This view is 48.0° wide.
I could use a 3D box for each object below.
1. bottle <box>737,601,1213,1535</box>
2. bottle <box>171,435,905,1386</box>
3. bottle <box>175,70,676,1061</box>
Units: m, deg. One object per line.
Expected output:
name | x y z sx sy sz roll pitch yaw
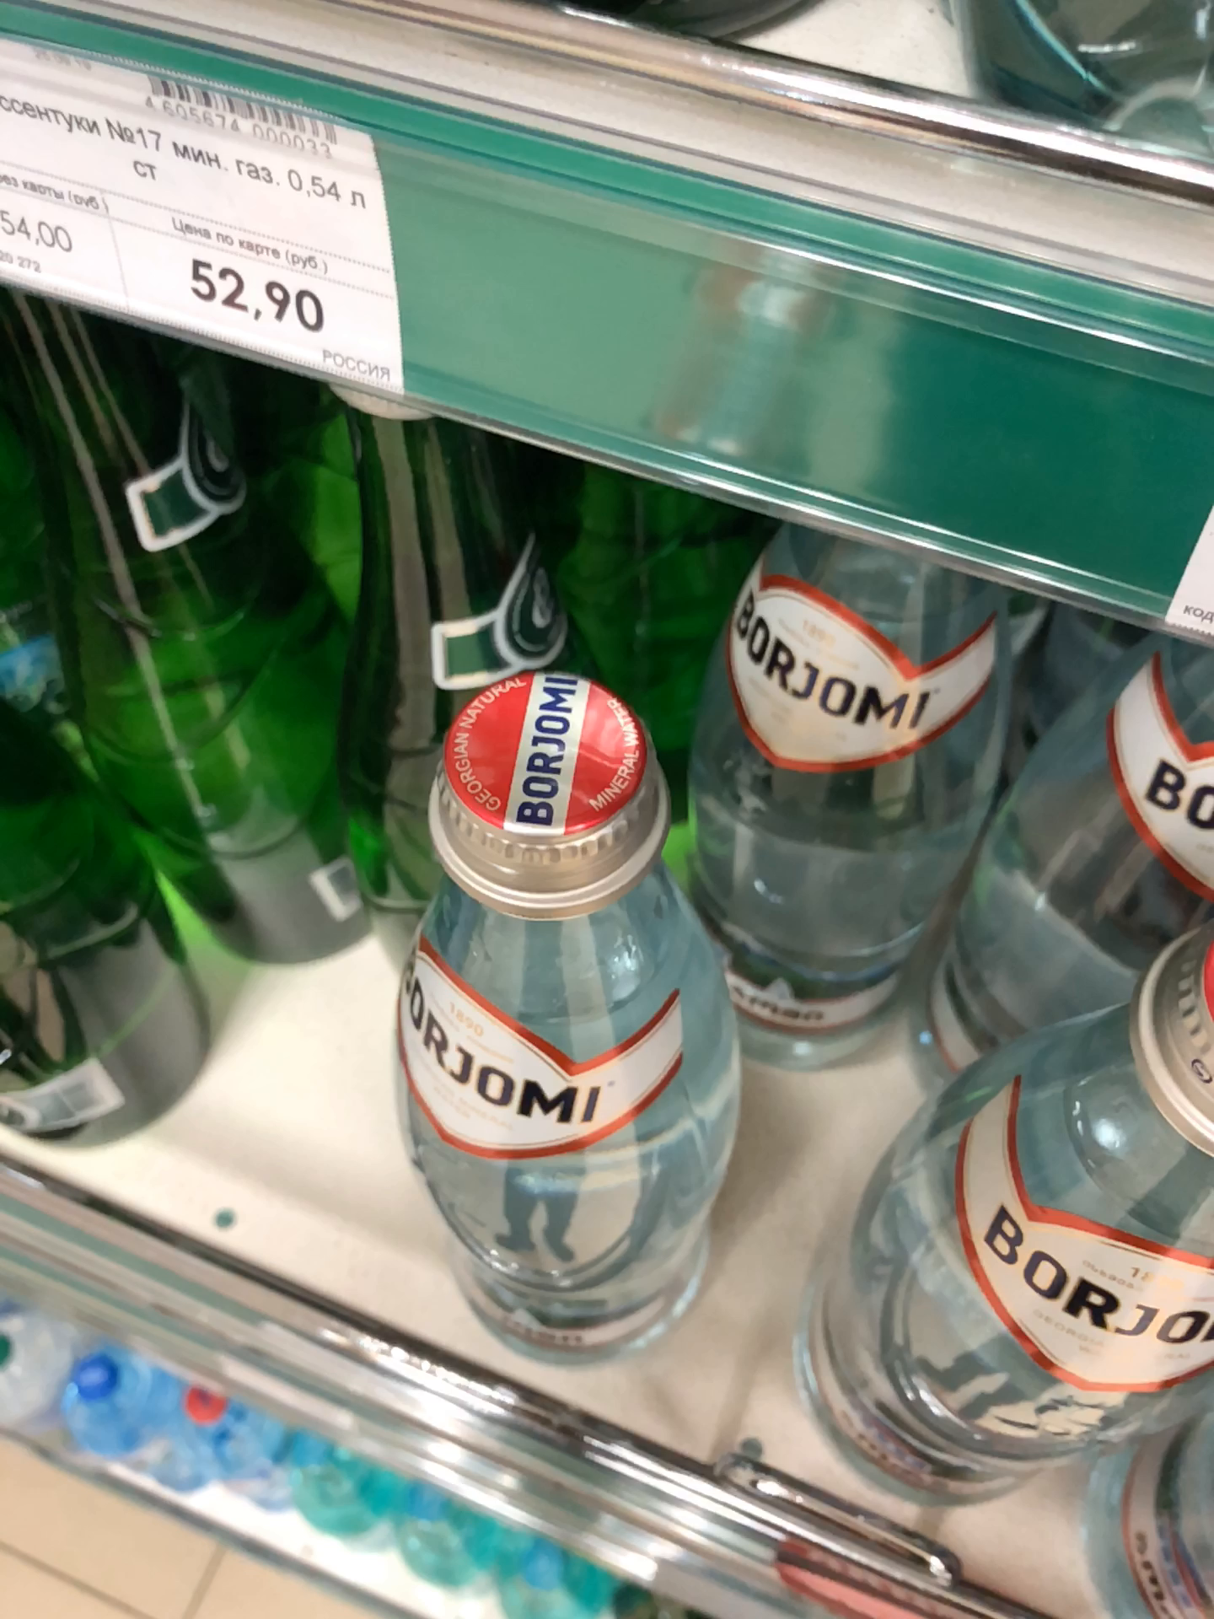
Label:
bottle | 0.080 0.074 0.252 0.069 0.237 0.065 0 58 0
bottle | -0.007 0.047 0.270 0.068 0.237 0.063 0 58 0
bottle | -0.030 -0.026 0.307 0.065 0.238 0.069 0 58 0
